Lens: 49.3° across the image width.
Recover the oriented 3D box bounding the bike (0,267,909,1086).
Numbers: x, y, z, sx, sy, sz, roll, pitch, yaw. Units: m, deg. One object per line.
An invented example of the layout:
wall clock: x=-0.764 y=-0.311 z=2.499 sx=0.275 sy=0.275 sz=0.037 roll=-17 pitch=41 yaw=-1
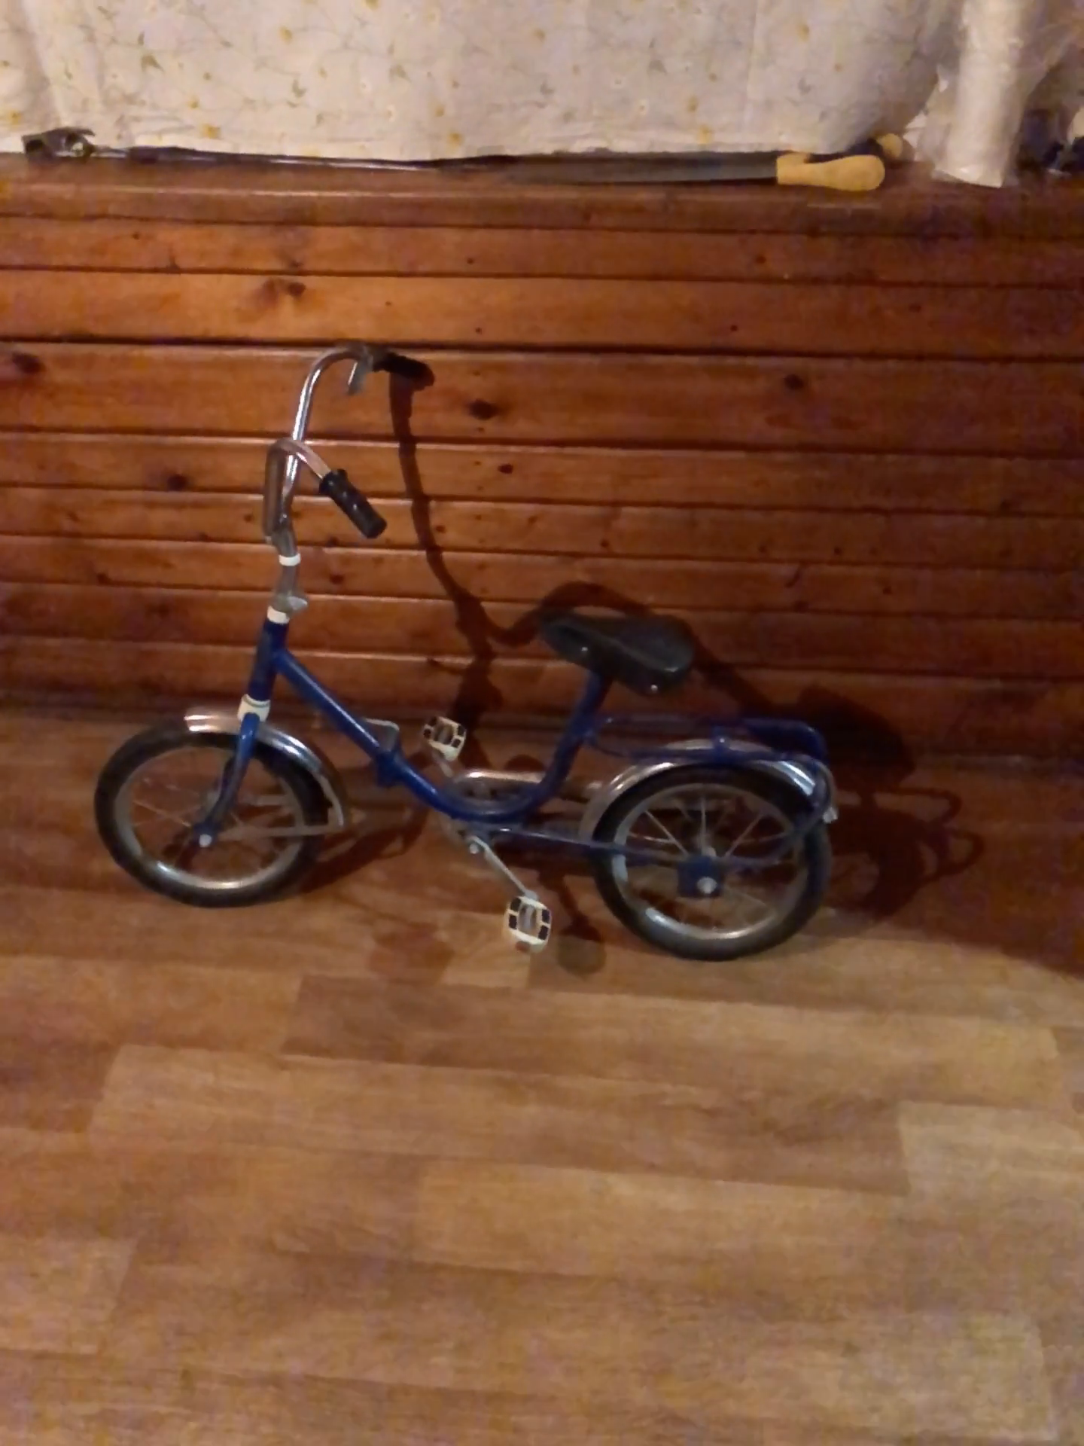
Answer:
bike: x=-0.110 y=-0.060 z=1.453 sx=0.956 sy=0.697 sz=0.597 roll=5 pitch=42 yaw=4
